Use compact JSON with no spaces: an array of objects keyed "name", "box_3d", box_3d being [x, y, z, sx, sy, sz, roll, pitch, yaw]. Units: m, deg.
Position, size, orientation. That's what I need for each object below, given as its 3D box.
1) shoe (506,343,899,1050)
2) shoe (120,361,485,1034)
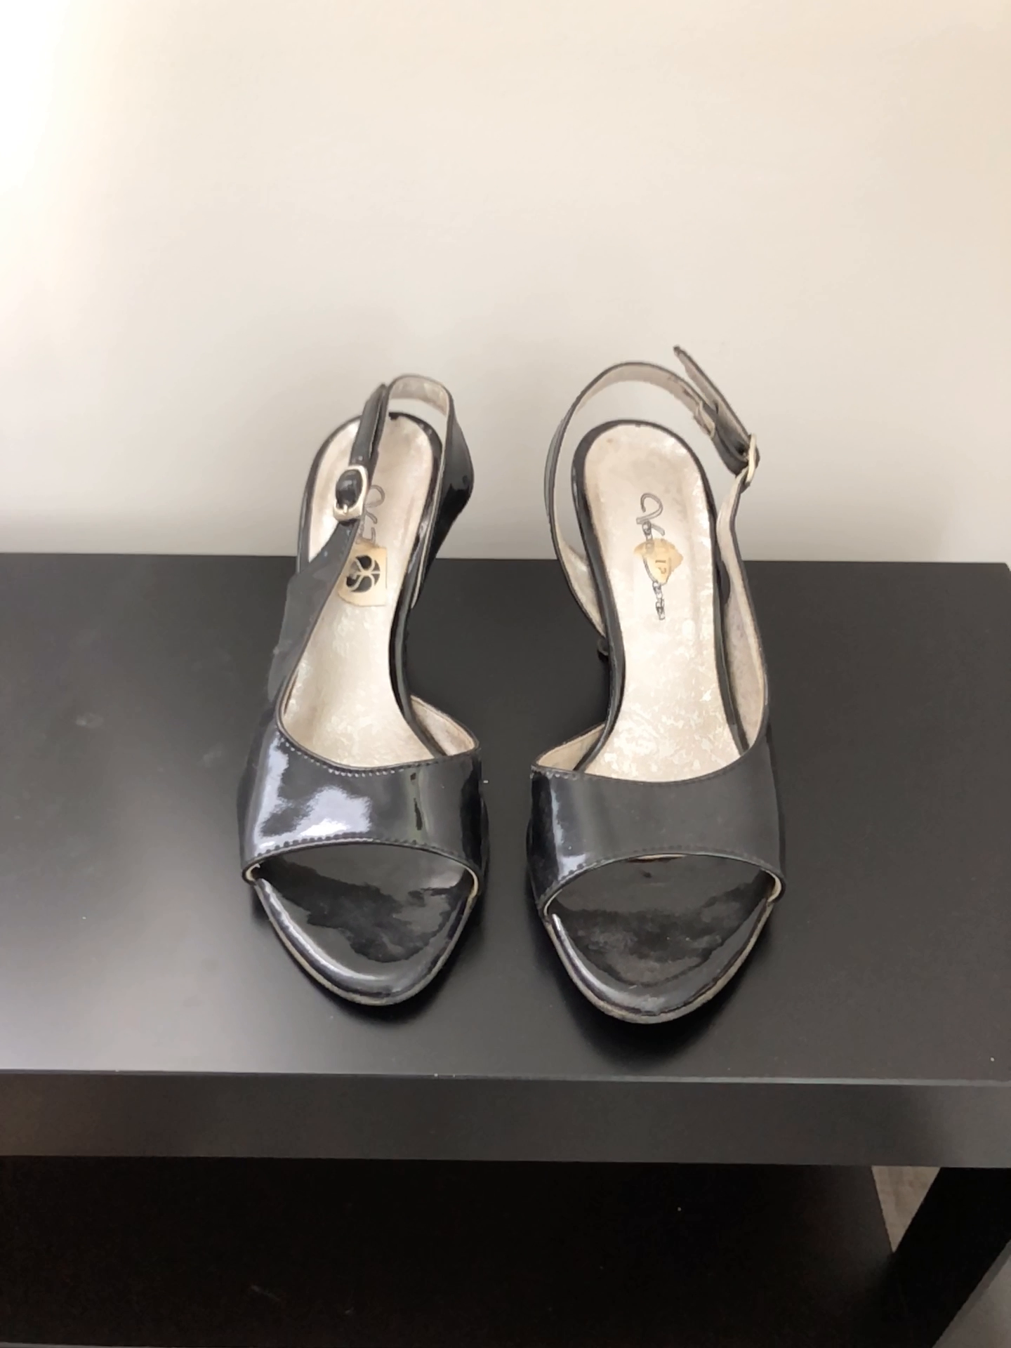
[{"name":"shoe","box_3d":[0.048,-0.007,0.359,0.083,0.110,0.211,3,41,2]},{"name":"shoe","box_3d":[-0.053,-0.006,0.374,0.083,0.110,0.211,-1,41,-3]}]
